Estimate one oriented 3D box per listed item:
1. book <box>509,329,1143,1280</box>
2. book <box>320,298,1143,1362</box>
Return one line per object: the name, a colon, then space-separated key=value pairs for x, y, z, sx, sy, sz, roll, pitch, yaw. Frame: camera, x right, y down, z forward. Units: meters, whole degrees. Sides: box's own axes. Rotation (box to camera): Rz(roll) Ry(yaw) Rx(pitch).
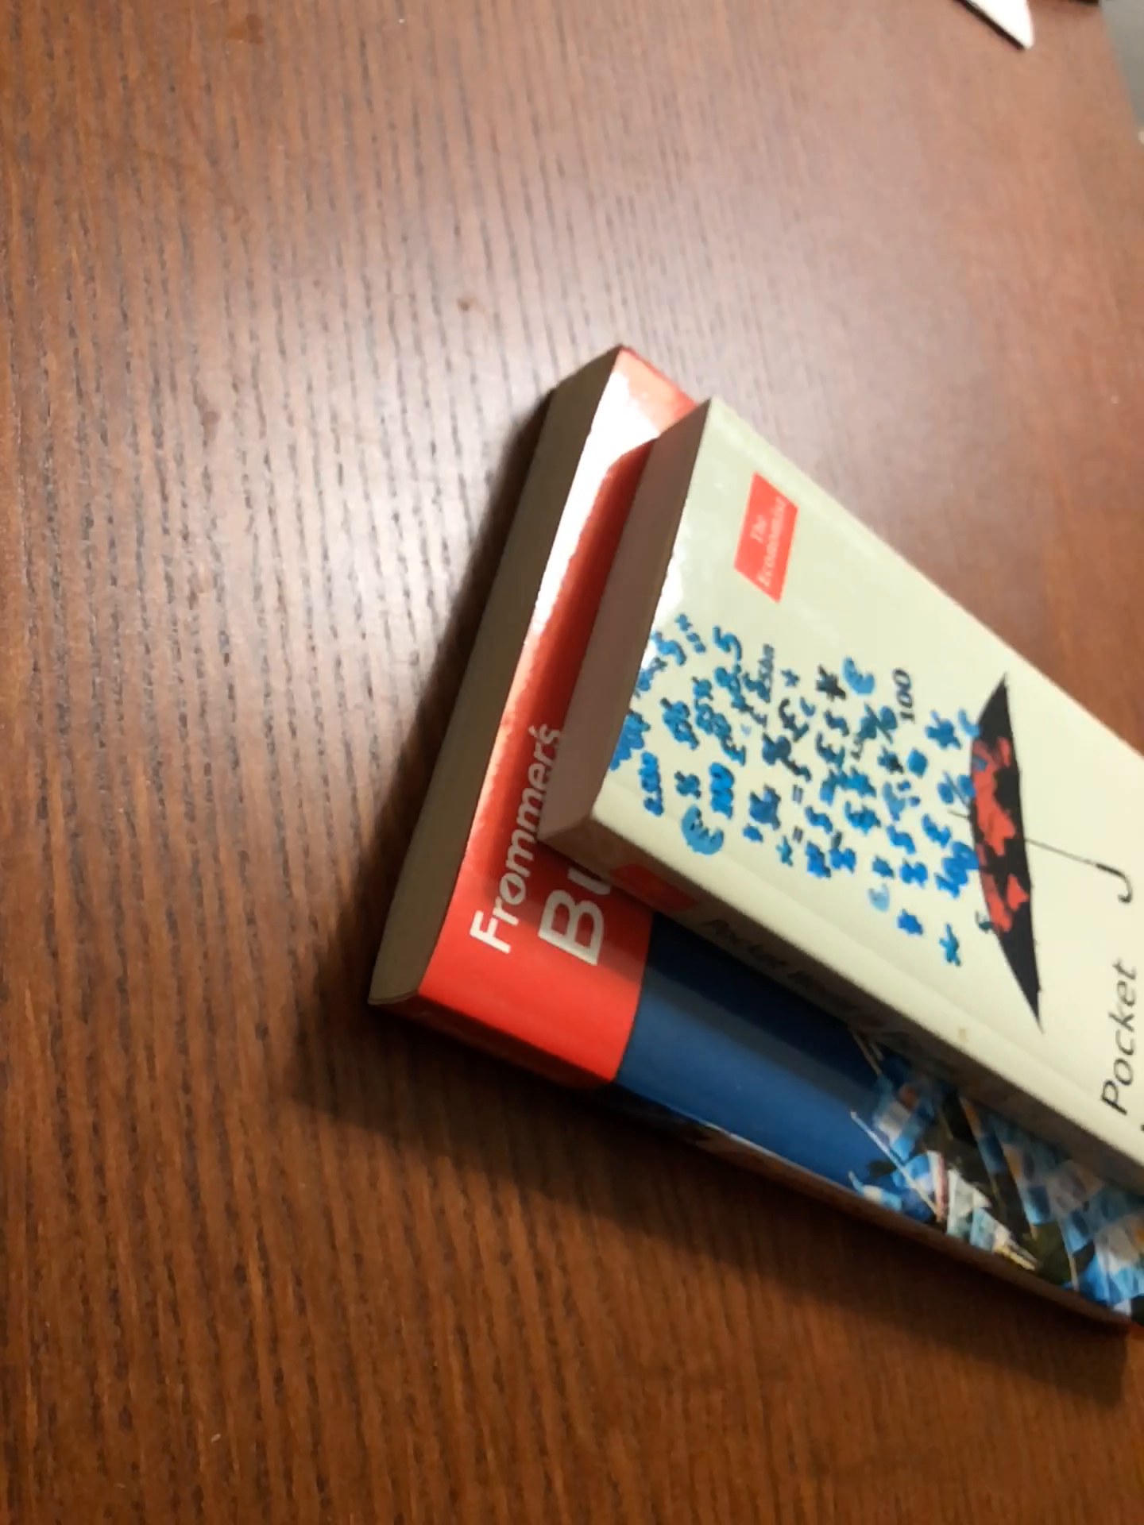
book: x=0.085 y=0.017 z=0.250 sx=0.200 sy=0.020 sz=0.100 roll=33 pitch=57 yaw=-26
book: x=0.065 y=0.022 z=0.264 sx=0.210 sy=0.020 sz=0.140 roll=31 pitch=57 yaw=-27
